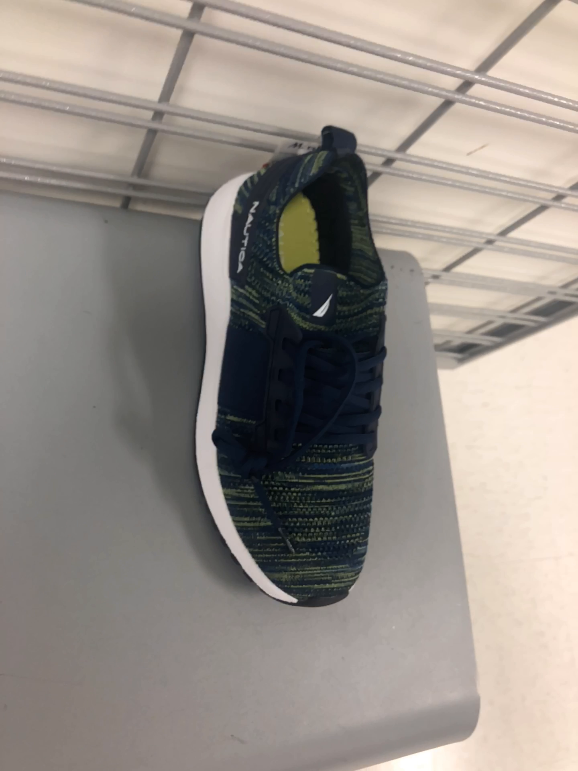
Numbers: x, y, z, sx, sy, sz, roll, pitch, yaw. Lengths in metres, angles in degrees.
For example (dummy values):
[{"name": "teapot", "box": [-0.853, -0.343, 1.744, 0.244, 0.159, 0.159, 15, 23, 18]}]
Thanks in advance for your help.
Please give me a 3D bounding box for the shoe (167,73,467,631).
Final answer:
[{"name": "shoe", "box": [0.005, -0.016, 0.378, 0.113, 0.105, 0.276, 1, 76, -27]}]
